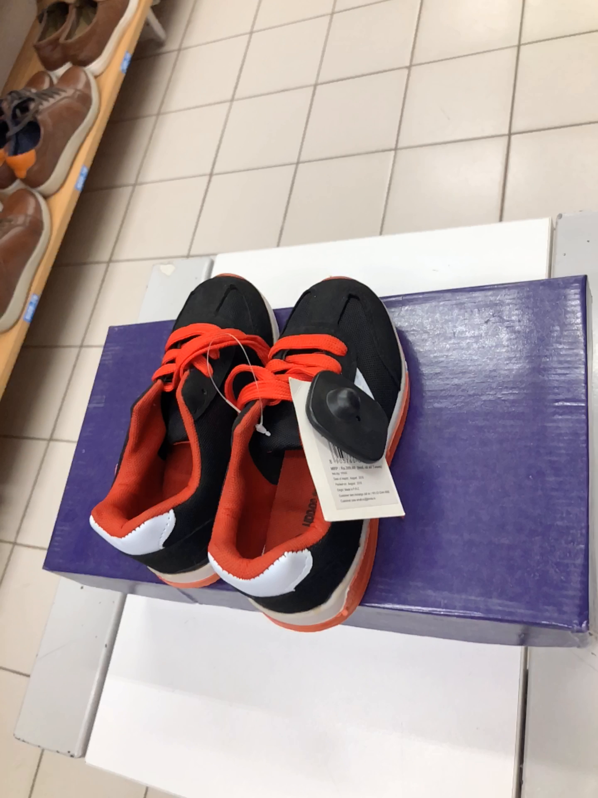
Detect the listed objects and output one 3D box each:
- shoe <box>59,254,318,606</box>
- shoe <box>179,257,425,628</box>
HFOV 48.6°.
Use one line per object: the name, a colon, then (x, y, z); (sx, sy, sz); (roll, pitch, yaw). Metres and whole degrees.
shoe: (-0.055, 0.021, 0.400); (0.080, 0.100, 0.180); (-2, 66, 24)
shoe: (0.012, 0.027, 0.363); (0.080, 0.100, 0.170); (-2, 66, 24)
